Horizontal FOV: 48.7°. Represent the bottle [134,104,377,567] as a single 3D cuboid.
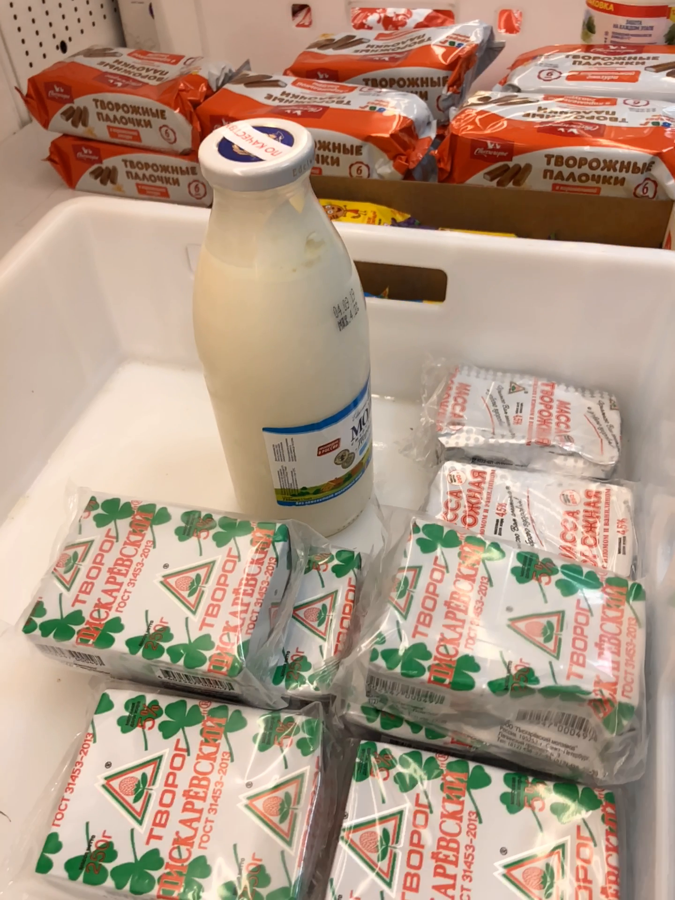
[{"bbox_3d":[-0.025,-0.042,0.366,0.072,0.220,0.072,-2,45,2],"label":"bottle"}]
